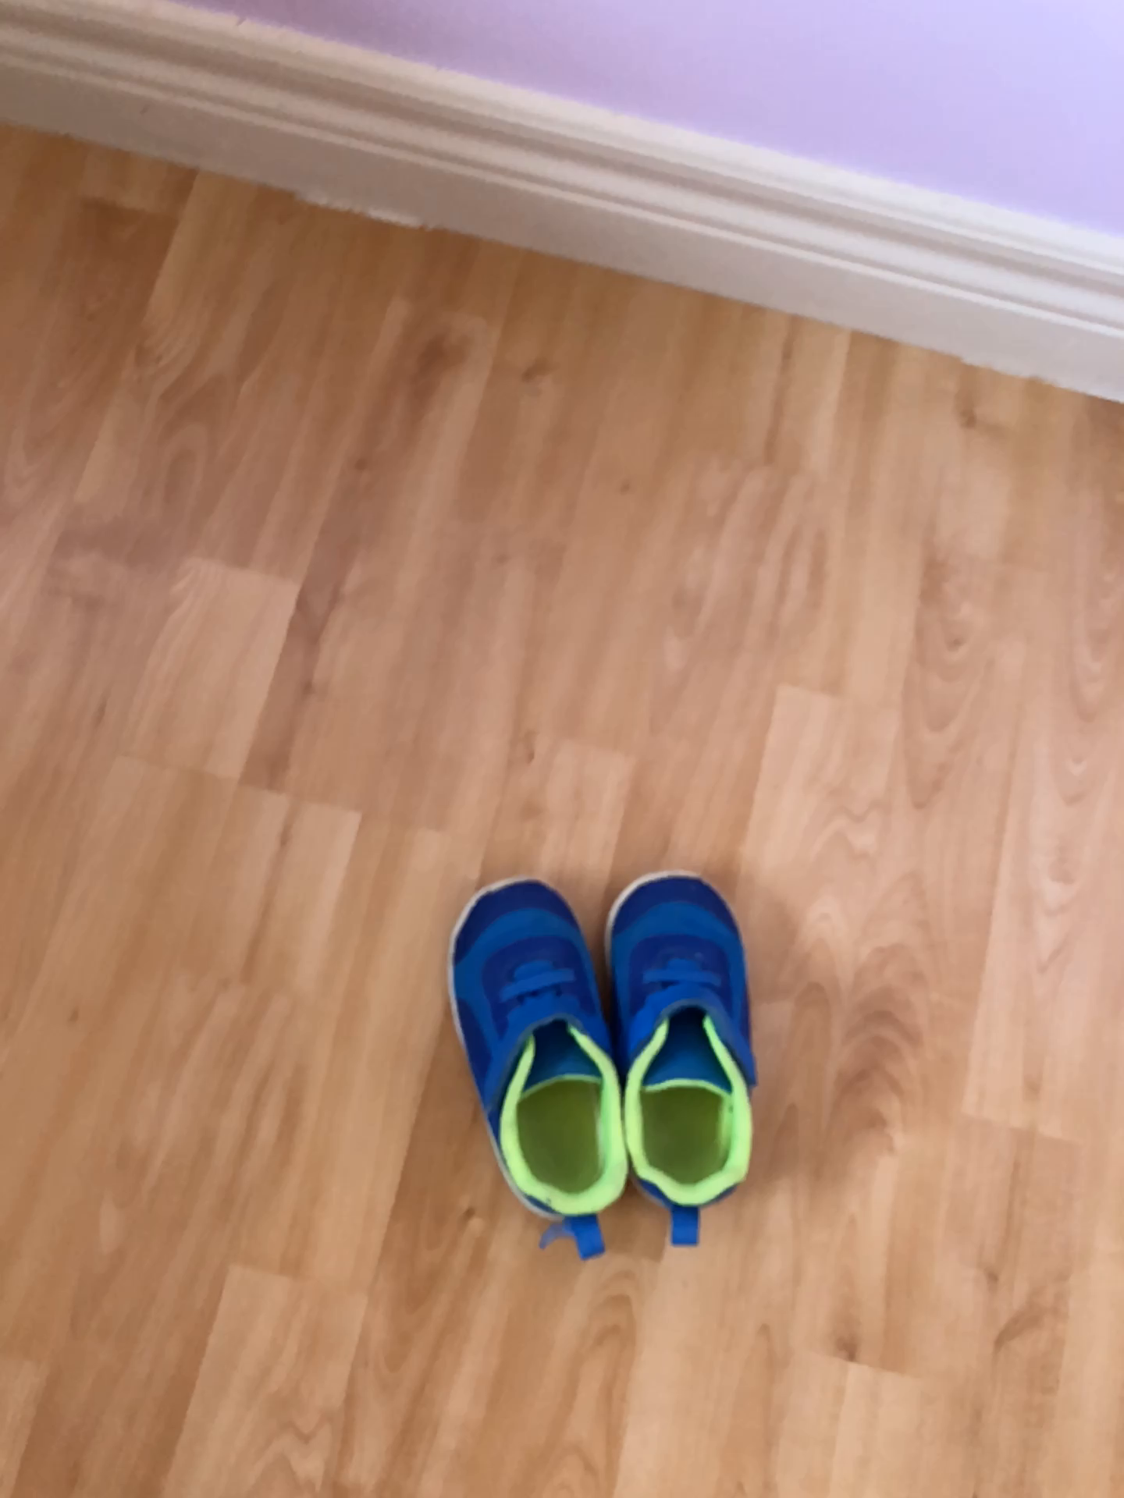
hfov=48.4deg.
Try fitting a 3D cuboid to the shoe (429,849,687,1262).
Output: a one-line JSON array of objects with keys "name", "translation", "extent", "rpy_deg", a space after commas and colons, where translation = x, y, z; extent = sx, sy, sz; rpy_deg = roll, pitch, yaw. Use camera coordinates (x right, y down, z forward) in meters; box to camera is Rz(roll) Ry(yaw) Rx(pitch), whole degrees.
[{"name": "shoe", "translation": [-0.006, 0.137, 0.573], "extent": [0.080, 0.070, 0.160], "rpy_deg": [-11, 76, -7]}]

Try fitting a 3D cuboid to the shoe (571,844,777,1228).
[{"name": "shoe", "translation": [0.047, 0.129, 0.570], "extent": [0.080, 0.070, 0.160], "rpy_deg": [1, 75, -4]}]
